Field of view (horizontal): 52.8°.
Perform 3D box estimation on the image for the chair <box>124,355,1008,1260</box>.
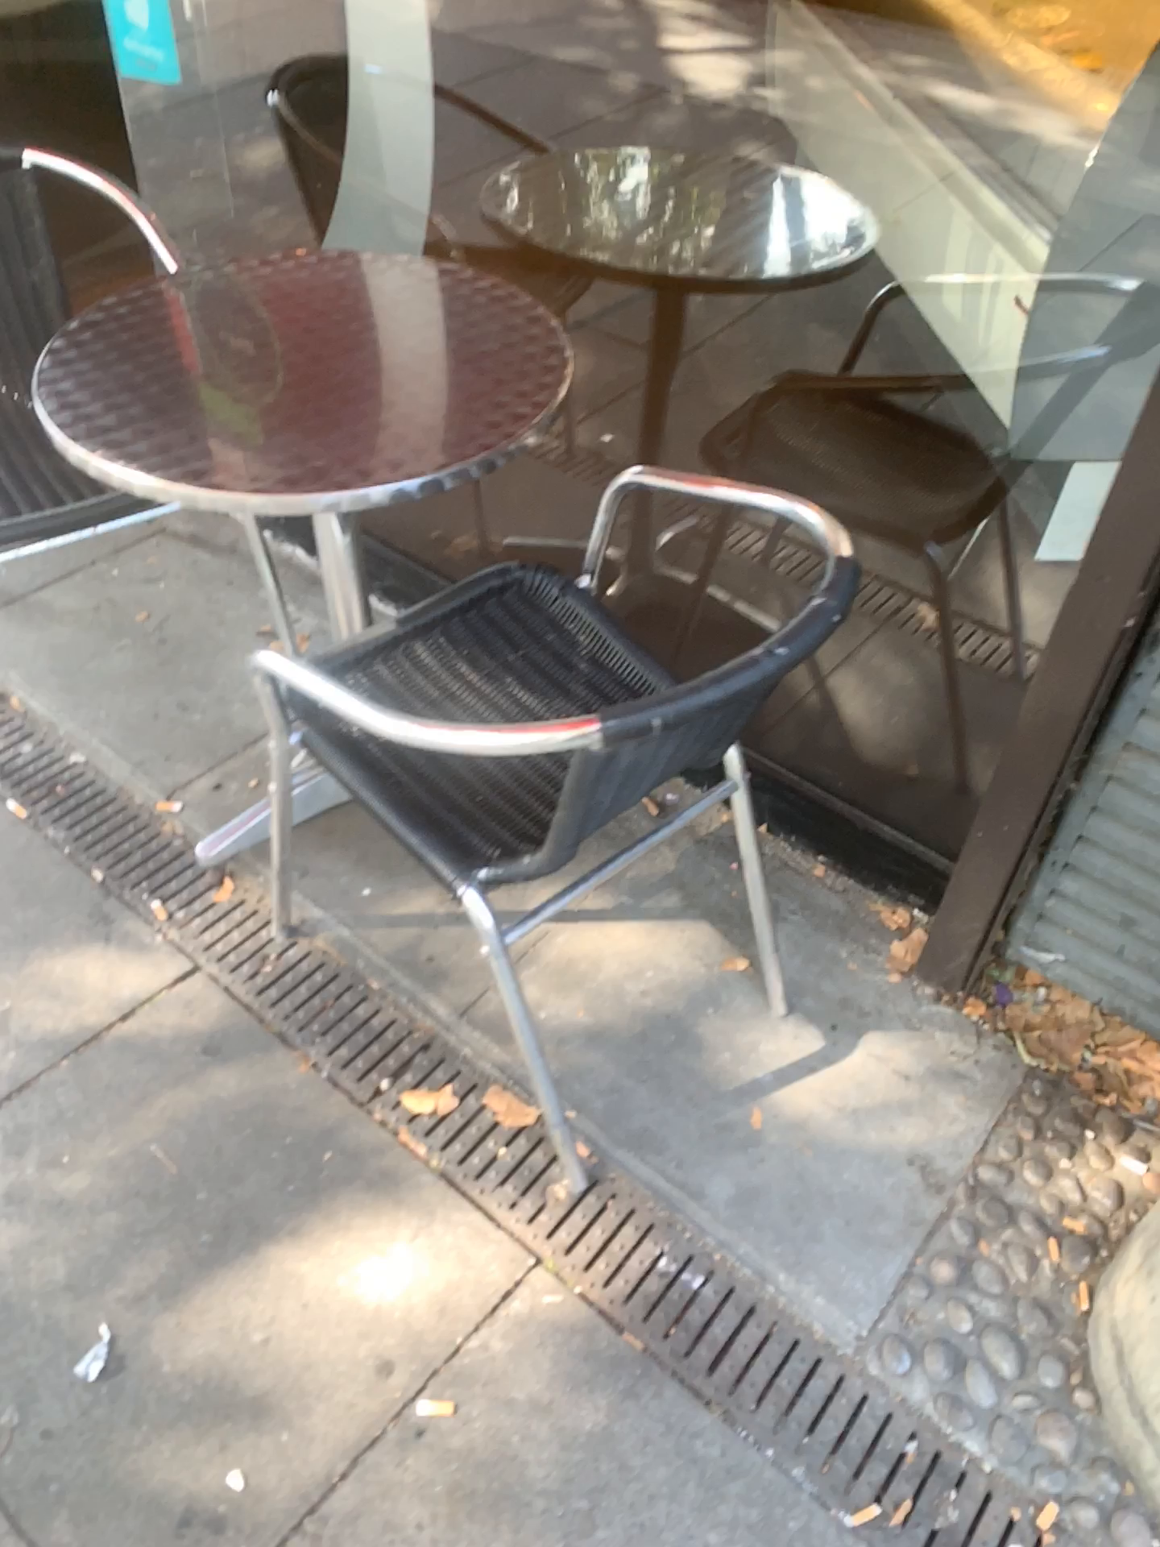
[{"bbox_3d":[-0.031,-0.006,1.360,0.602,0.604,0.644,-31,53,-31],"label":"chair"}]
